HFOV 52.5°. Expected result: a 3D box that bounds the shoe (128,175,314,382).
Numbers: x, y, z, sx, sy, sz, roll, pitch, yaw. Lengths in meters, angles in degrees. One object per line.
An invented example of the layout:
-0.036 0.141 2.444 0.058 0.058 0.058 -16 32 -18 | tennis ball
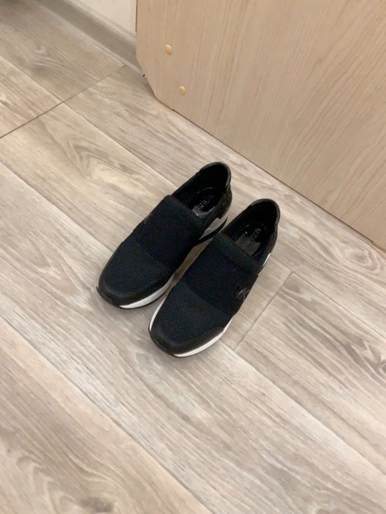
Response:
0.038 0.024 0.536 0.098 0.120 0.261 38 61 12 | shoe

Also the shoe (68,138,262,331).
-0.033 -0.038 0.556 0.098 0.120 0.261 40 62 13 | shoe
